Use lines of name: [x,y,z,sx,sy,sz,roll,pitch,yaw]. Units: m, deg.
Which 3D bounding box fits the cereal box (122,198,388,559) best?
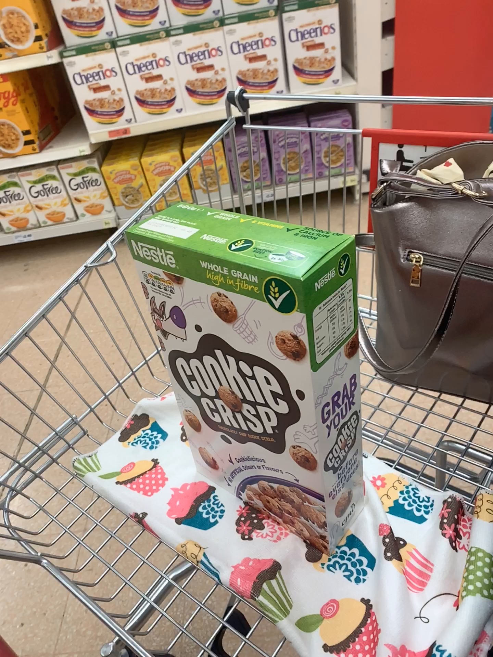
cereal box: [0.013,0.049,0.492,0.221,0.307,0.070,20,42,35]
